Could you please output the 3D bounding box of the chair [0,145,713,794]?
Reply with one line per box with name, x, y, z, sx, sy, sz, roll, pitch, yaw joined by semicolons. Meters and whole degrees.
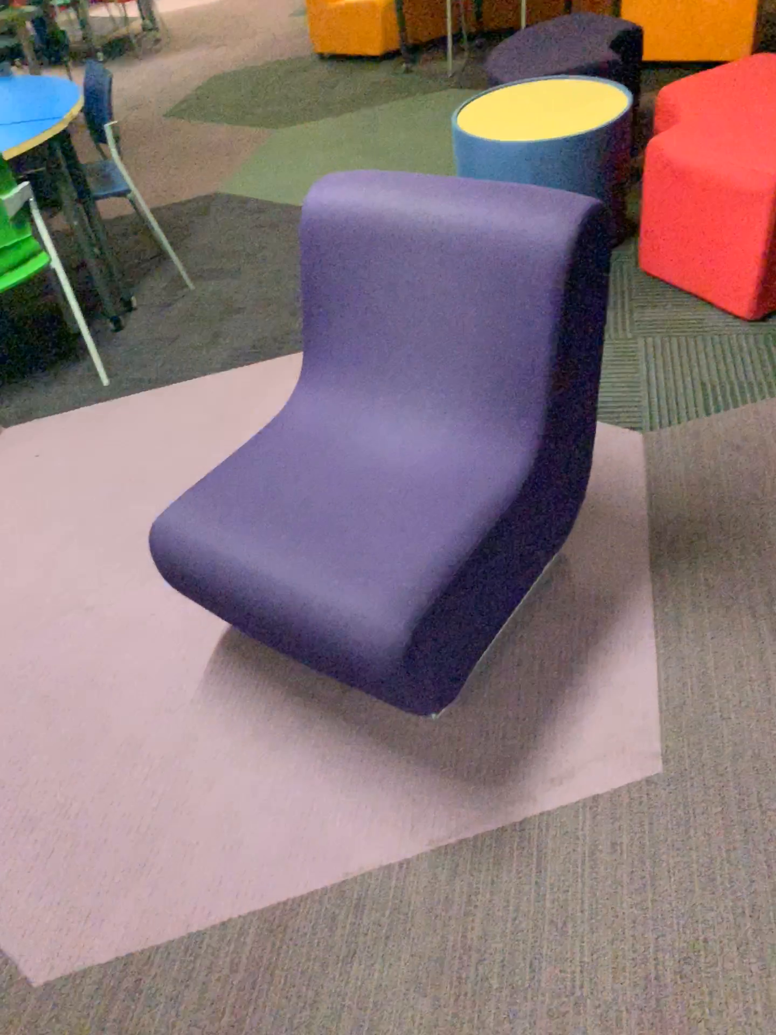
chair;-0.001;-0.182;1.419;0.803;0.614;0.825;20;50;31
